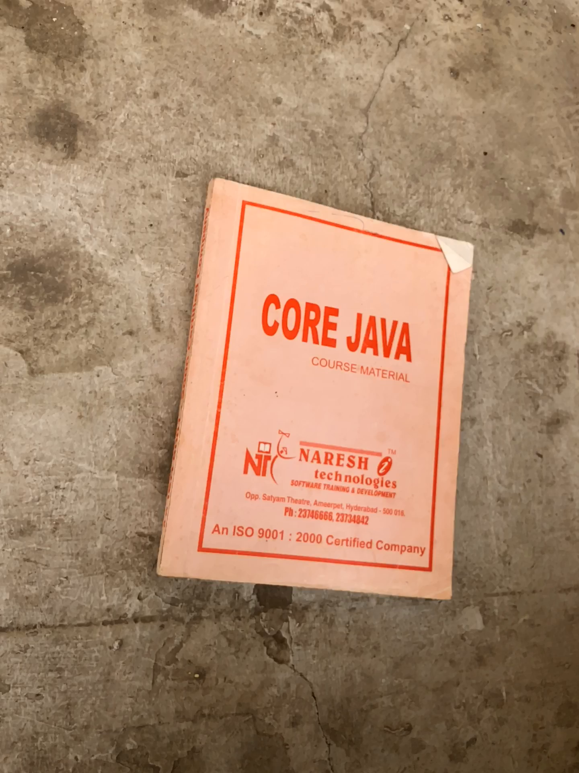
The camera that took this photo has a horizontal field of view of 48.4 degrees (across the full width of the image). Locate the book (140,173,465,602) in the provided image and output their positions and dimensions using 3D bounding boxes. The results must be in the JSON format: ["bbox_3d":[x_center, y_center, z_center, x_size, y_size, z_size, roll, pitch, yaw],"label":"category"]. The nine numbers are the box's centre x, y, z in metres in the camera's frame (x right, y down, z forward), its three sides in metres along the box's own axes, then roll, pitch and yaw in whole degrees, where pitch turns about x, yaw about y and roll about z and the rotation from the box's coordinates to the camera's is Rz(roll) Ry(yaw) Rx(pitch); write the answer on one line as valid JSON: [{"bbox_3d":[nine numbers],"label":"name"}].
[{"bbox_3d":[0.019,0.003,0.438,0.200,0.030,0.260,9,78,-16],"label":"book"}]
